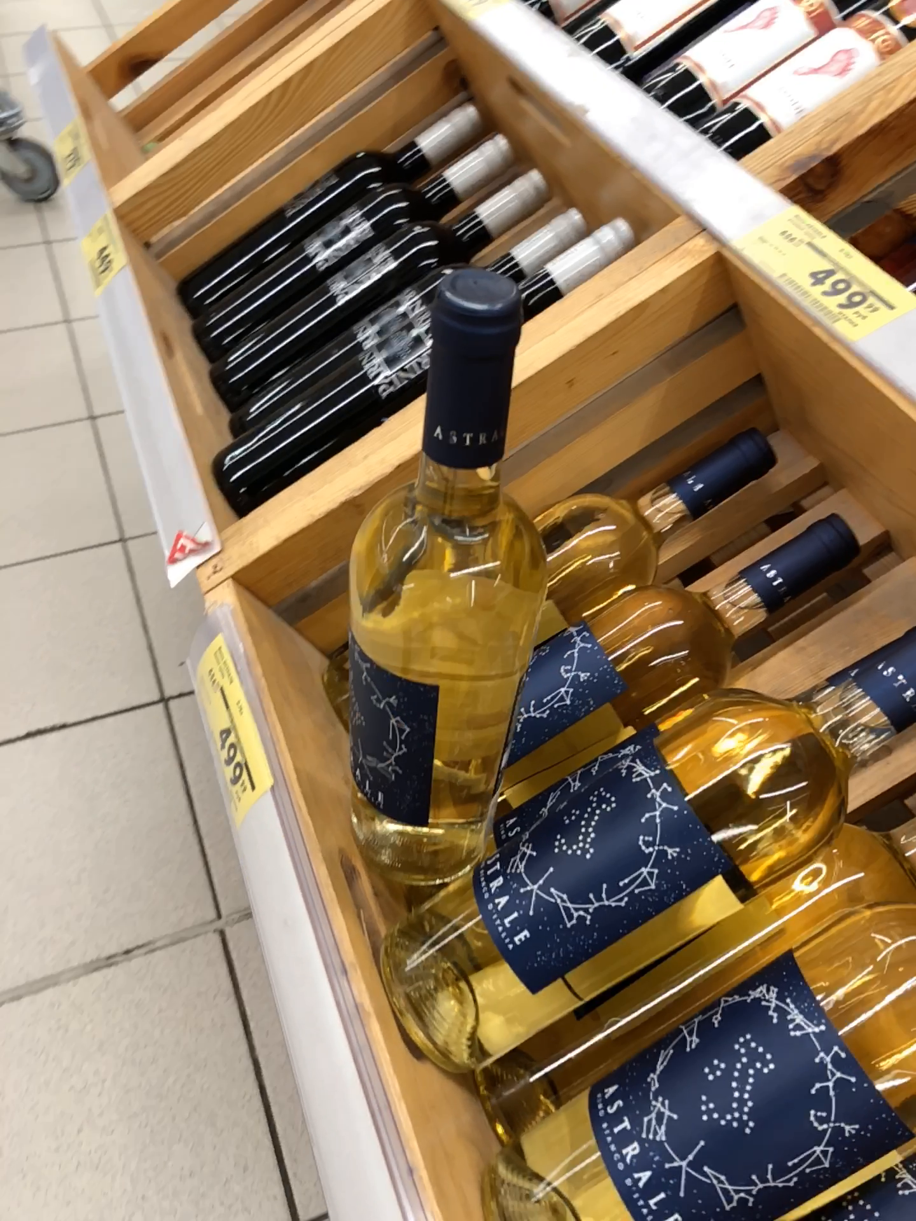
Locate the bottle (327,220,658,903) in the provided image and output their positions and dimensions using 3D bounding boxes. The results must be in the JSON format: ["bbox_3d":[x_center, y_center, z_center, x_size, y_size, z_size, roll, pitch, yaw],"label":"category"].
[{"bbox_3d":[-0.005,0.001,0.400,0.080,0.279,0.090,-6,47,-12],"label":"bottle"}]
